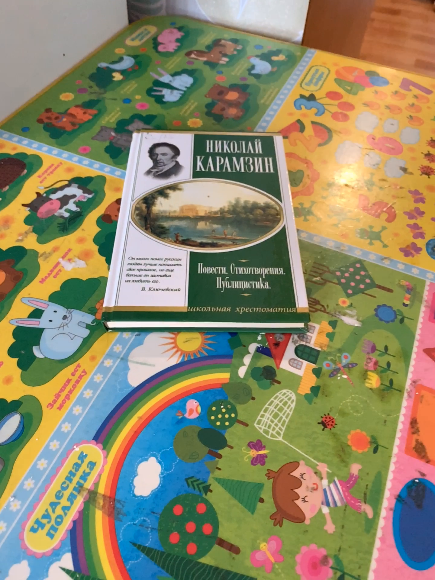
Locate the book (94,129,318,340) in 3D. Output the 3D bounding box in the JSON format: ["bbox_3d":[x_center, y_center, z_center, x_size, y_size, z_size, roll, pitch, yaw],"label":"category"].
[{"bbox_3d":[-0.007,-0.053,0.341,0.136,0.020,0.198,1,53,-1],"label":"book"}]
